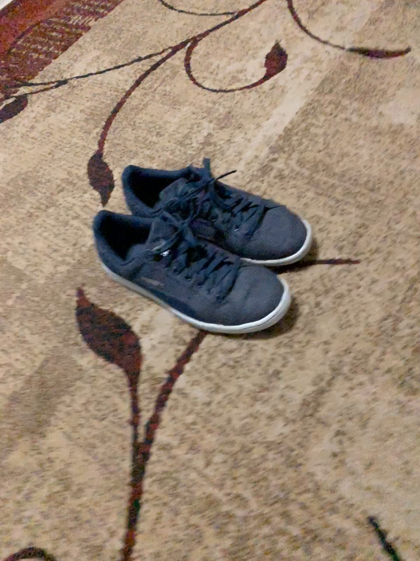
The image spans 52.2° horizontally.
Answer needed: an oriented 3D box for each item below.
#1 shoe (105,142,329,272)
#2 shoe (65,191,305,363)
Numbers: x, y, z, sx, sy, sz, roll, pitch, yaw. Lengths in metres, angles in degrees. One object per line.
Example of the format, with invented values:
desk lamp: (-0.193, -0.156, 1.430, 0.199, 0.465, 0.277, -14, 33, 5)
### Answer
shoe: (0.006, -0.105, 0.569, 0.275, 0.050, 0.100, 19, 65, 22)
shoe: (-0.031, -0.012, 0.544, 0.275, 0.090, 0.106, 20, 65, 22)
